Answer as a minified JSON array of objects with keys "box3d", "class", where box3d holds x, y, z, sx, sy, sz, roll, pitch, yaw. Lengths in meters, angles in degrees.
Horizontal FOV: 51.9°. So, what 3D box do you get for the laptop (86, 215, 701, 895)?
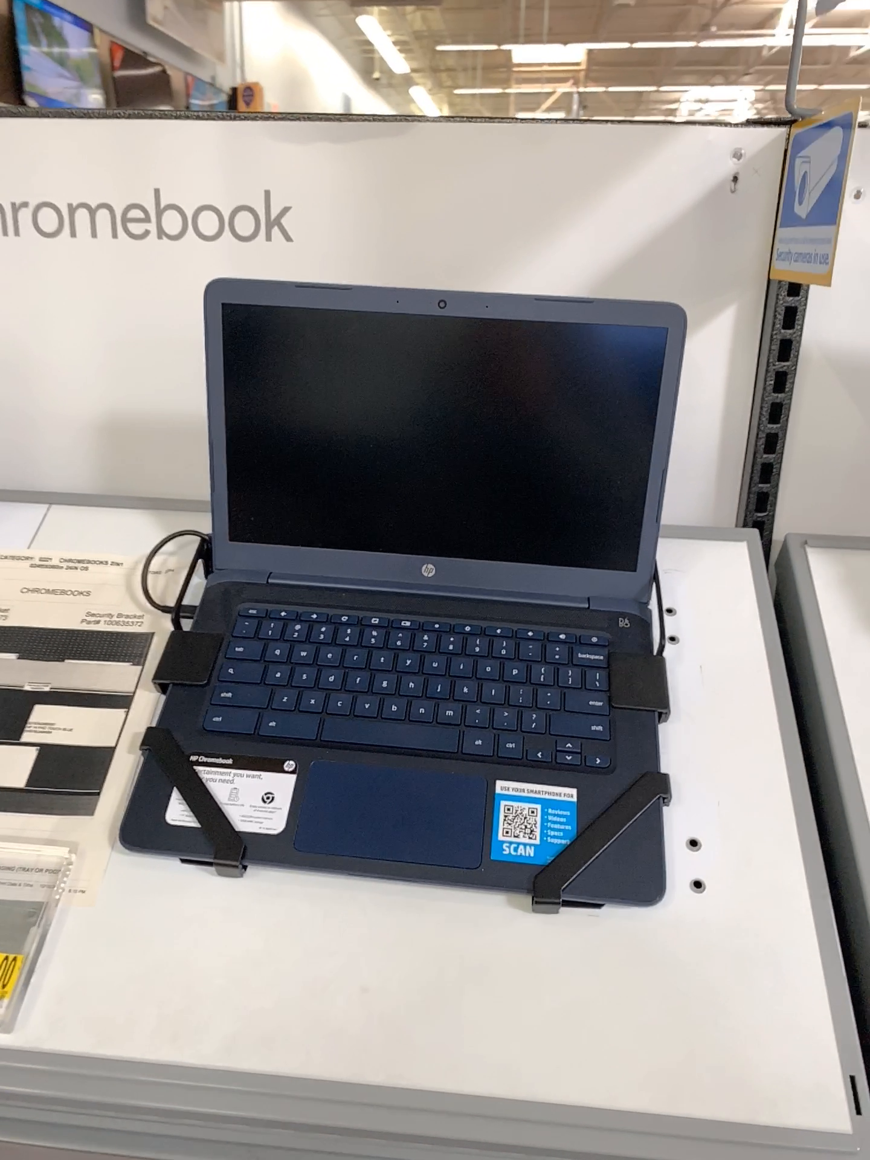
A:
[{"box3d":[-0.006,-0.048,0.596,0.317,0.189,0.324,4,42,5],"class":"laptop"}]
